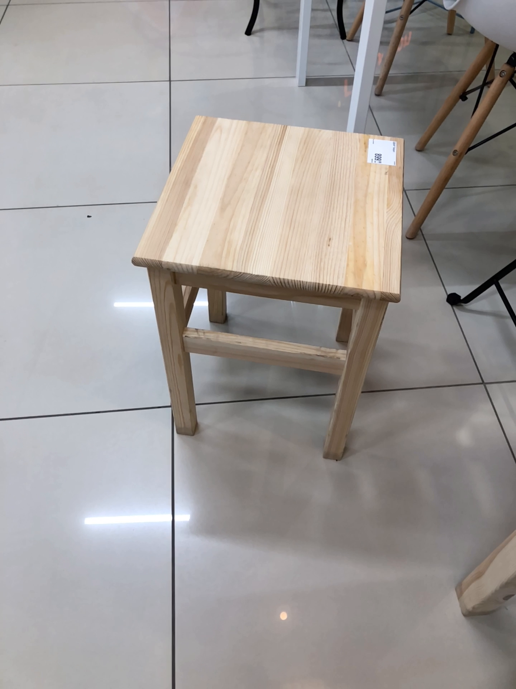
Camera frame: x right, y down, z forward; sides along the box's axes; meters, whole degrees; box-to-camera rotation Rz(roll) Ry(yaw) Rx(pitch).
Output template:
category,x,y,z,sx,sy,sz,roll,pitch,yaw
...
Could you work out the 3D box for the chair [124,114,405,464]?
category,x,y,z,sx,sy,sz,roll,pitch,yaw
chair,0.027,-0.075,0.905,0.320,0.407,0.328,8,52,6
